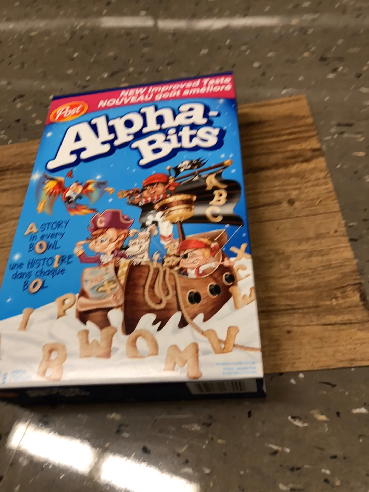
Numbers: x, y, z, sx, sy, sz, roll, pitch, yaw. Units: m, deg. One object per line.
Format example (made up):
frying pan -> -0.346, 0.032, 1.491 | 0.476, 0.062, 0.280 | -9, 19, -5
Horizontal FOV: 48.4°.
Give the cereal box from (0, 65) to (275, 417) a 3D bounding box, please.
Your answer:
cereal box -> -0.041, -0.024, 0.360 | 0.200, 0.060, 0.310 | -5, 56, 9
